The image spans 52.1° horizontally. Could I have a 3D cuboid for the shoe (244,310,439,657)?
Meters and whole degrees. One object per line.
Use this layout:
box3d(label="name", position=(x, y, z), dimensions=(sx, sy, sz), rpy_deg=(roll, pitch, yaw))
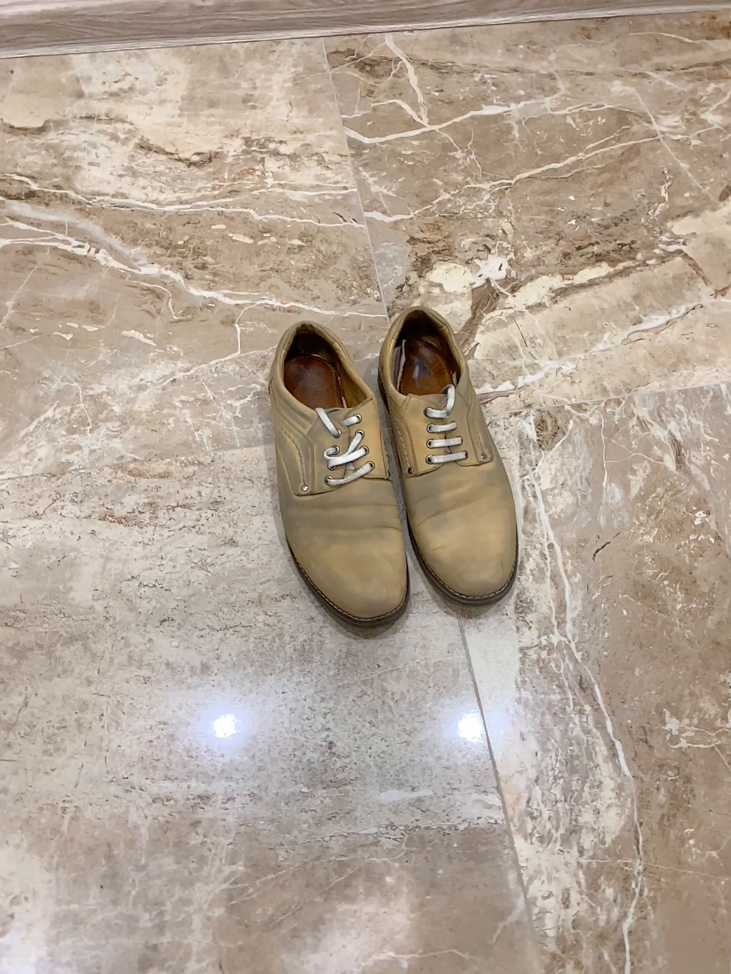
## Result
box3d(label="shoe", position=(-0.029, -0.009, 0.651), dimensions=(0.110, 0.080, 0.281), rpy_deg=(-9, 67, -8))

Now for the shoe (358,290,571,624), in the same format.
box3d(label="shoe", position=(0.077, -0.034, 0.661), dimensions=(0.110, 0.070, 0.281), rpy_deg=(-9, 67, -8))
